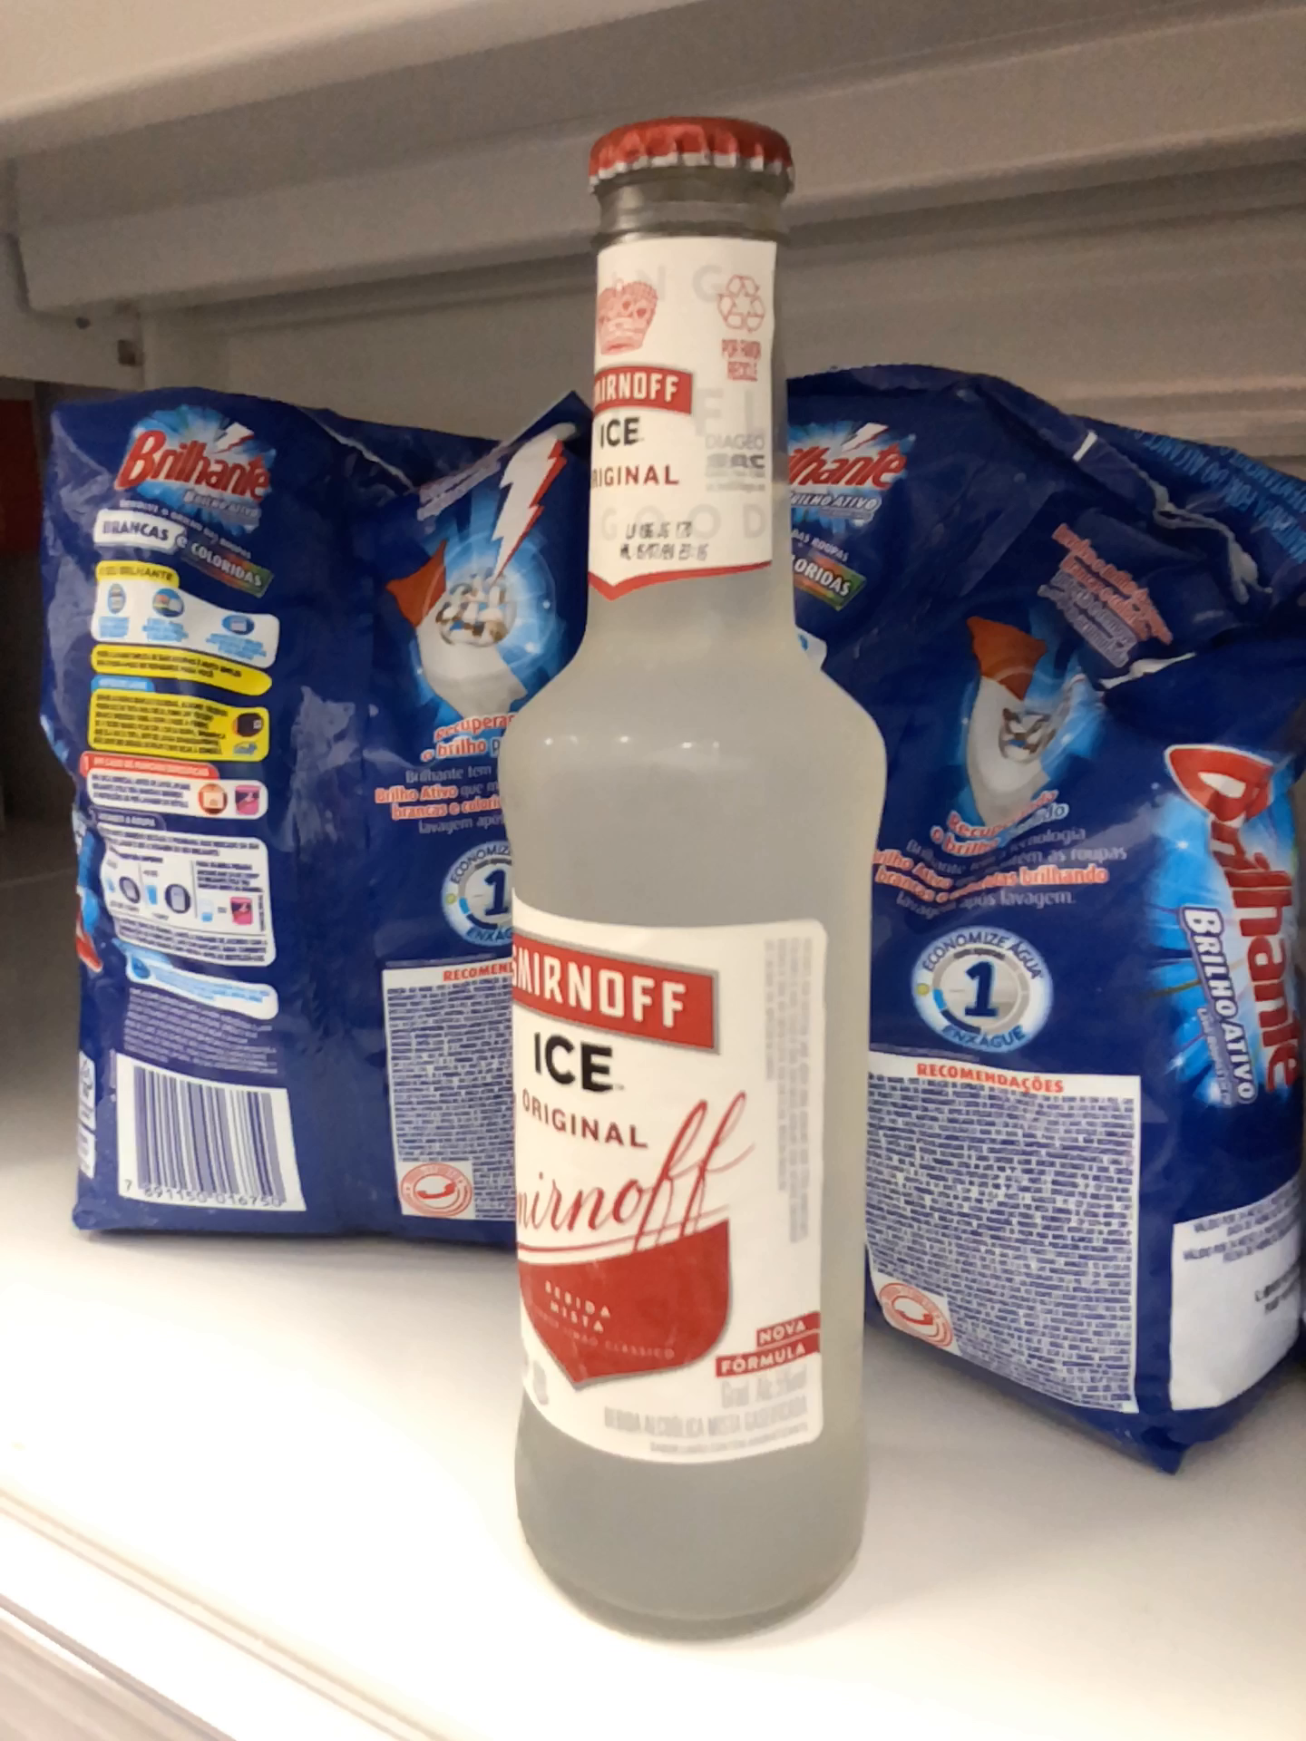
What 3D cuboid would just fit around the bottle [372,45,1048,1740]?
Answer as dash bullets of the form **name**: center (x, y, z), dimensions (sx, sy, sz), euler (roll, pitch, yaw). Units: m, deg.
- **bottle**: center (0.008, 0.005, 0.219), dimensions (0.070, 0.209, 0.060), euler (10, 15, 41)
